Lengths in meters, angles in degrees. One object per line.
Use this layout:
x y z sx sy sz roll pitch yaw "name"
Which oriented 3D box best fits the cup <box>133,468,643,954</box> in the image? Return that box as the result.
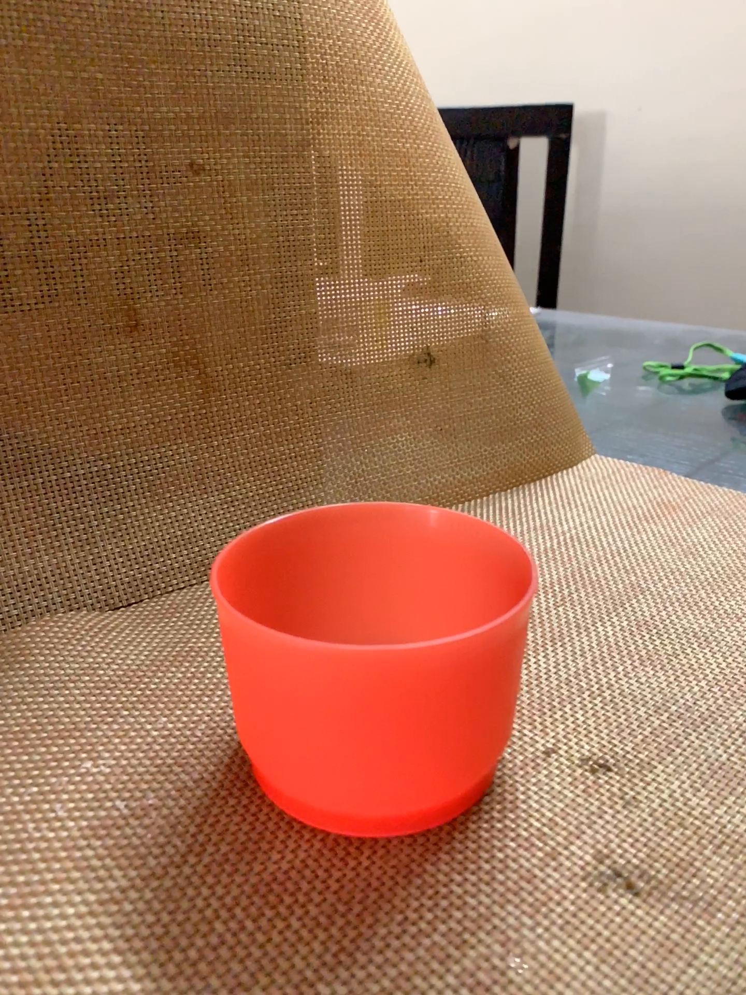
0.005 0.035 0.179 0.078 0.050 0.081 0 21 0 "cup"
